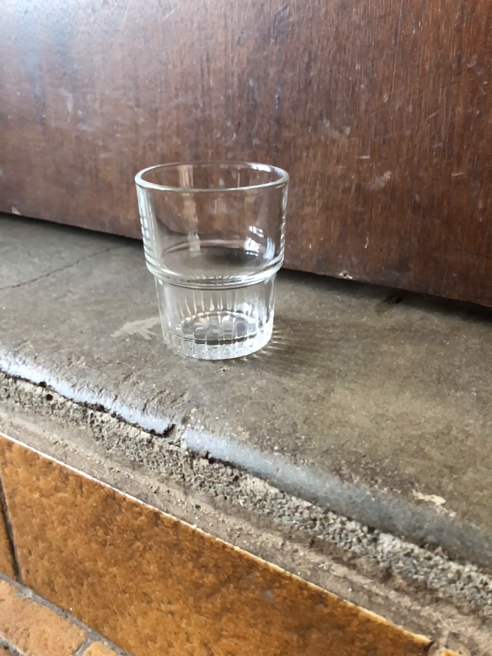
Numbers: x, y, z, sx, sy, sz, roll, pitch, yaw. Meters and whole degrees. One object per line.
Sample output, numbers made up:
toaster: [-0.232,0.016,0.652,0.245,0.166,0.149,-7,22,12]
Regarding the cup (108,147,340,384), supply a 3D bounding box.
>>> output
cup: [-0.009,-0.035,0.252,0.070,0.080,0.070,0,26,0]
